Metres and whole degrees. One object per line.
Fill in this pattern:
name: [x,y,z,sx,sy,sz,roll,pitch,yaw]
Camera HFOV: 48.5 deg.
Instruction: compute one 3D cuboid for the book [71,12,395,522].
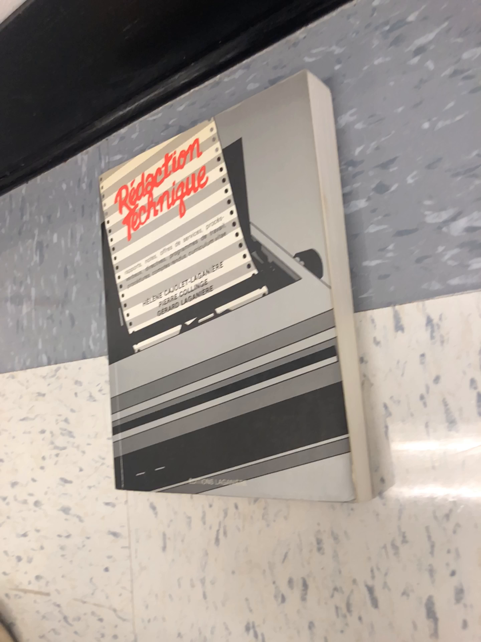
book: [-0.020,-0.016,0.291,0.171,0.040,0.220,-11,80,37]
